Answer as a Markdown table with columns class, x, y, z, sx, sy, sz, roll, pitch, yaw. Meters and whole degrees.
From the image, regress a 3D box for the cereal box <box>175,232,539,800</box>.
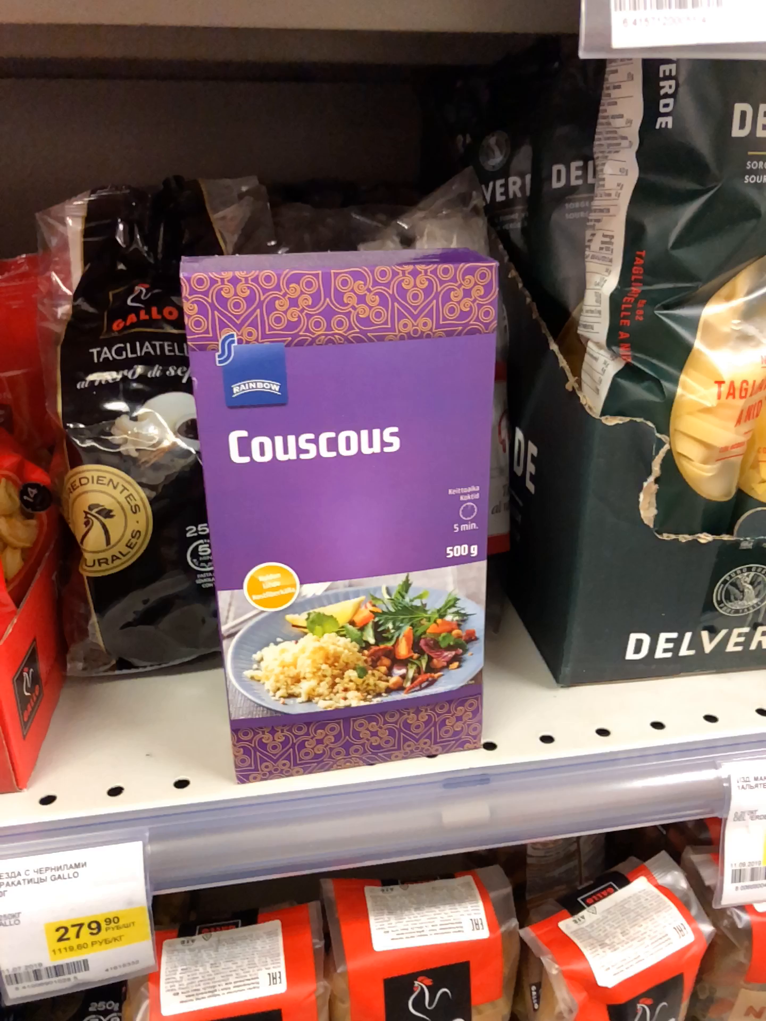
| class | x | y | z | sx | sy | sz | roll | pitch | yaw |
| --- | --- | --- | --- | --- | --- | --- | --- | --- | --- |
| cereal box | -0.009 | 0.006 | 0.310 | 0.110 | 0.199 | 0.040 | -5 | 24 | -10 |
